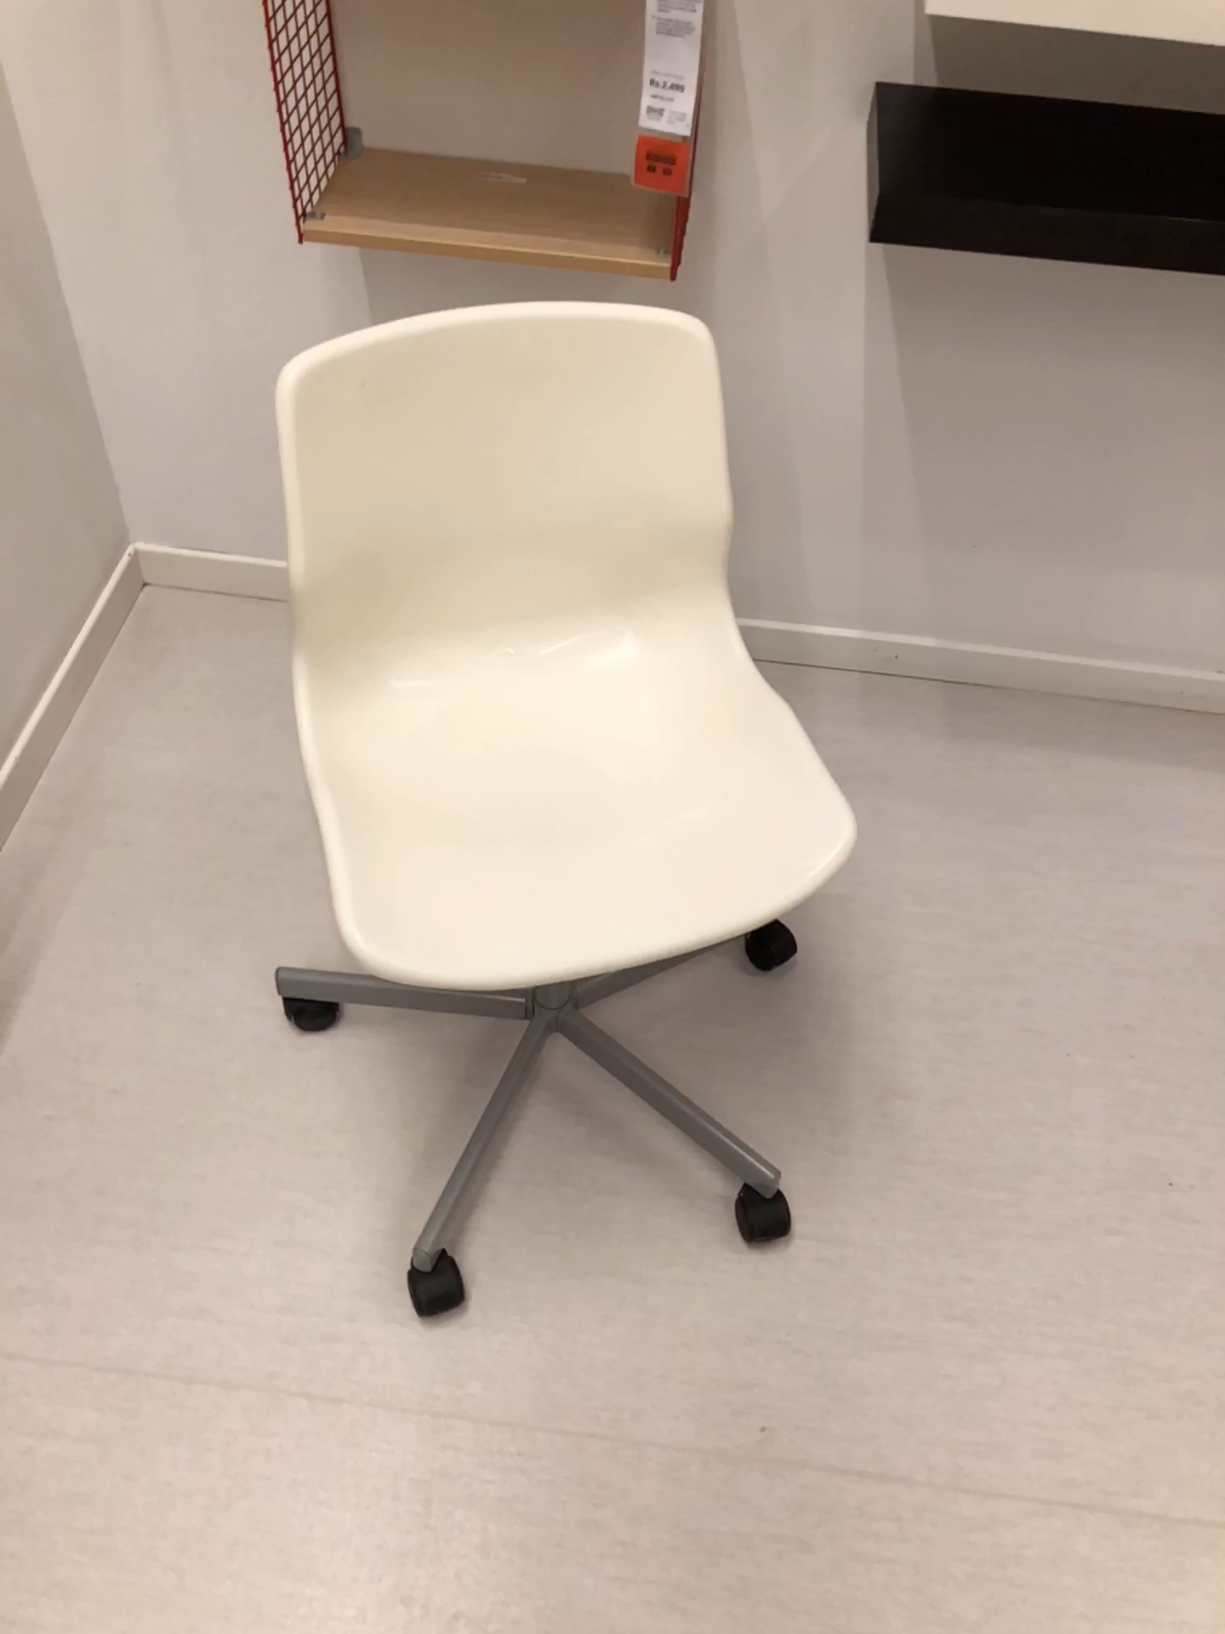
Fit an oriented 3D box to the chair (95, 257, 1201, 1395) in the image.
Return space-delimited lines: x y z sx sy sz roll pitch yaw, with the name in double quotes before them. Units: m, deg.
"chair" -0.041 0.007 1.209 0.620 0.686 0.624 -12 51 -13
